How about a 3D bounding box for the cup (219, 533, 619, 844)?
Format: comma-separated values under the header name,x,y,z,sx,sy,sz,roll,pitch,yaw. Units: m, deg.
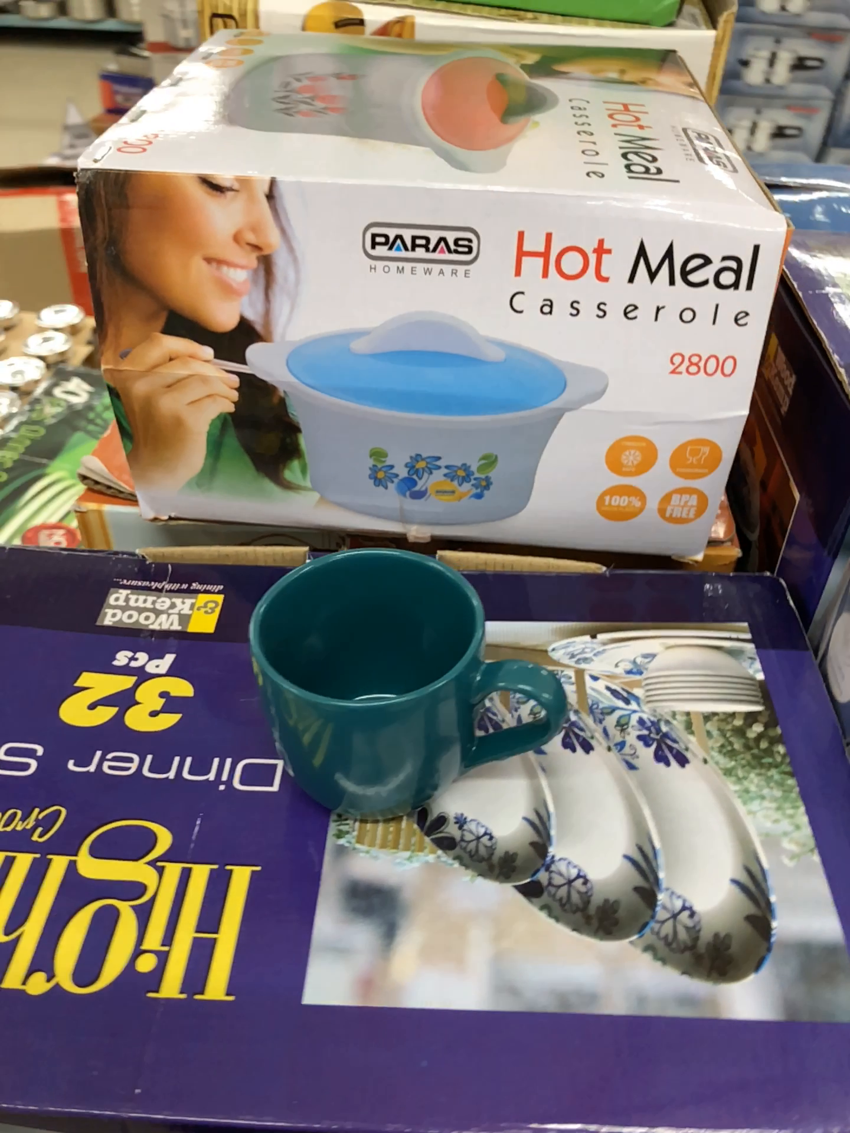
name,x,y,z,sx,sy,sz,roll,pitch,yaw
cup,-0.001,0.031,0.252,0.090,0.050,0.060,3,39,1
